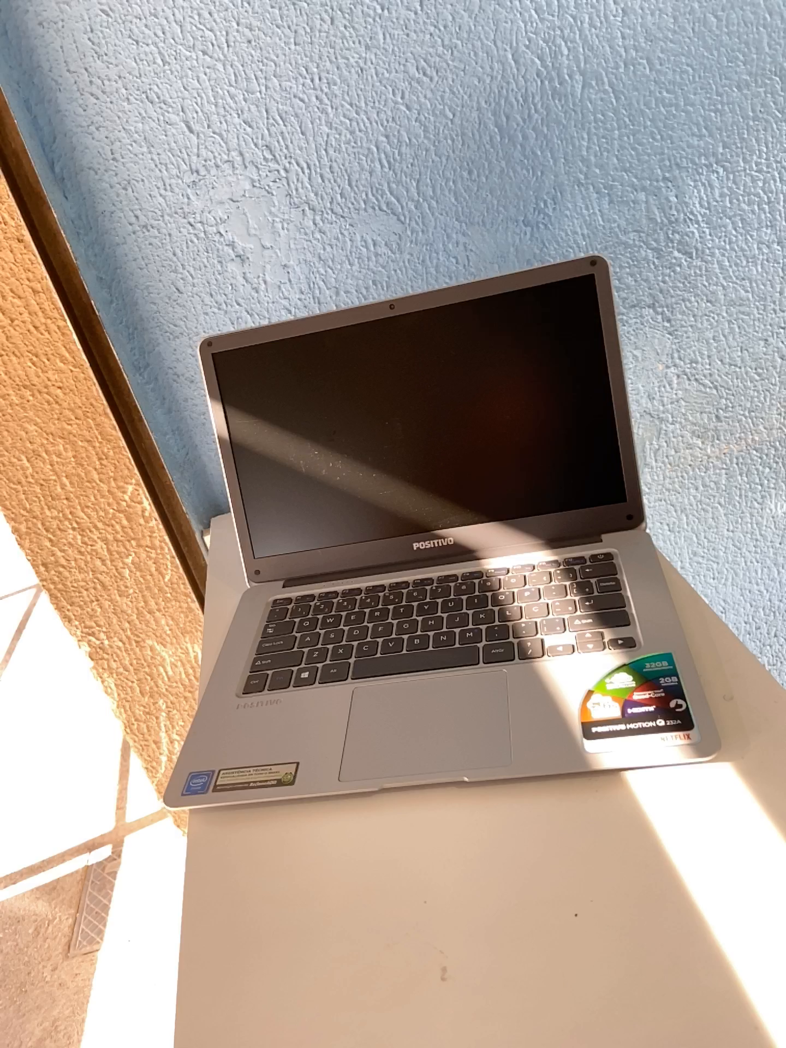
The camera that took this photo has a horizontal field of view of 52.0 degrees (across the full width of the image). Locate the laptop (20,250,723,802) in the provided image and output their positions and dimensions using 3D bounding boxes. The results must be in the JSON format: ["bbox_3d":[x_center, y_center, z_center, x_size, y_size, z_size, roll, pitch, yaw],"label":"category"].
[{"bbox_3d":[0.006,-0.017,0.553,0.332,0.189,0.313,-9,31,10],"label":"laptop"}]
